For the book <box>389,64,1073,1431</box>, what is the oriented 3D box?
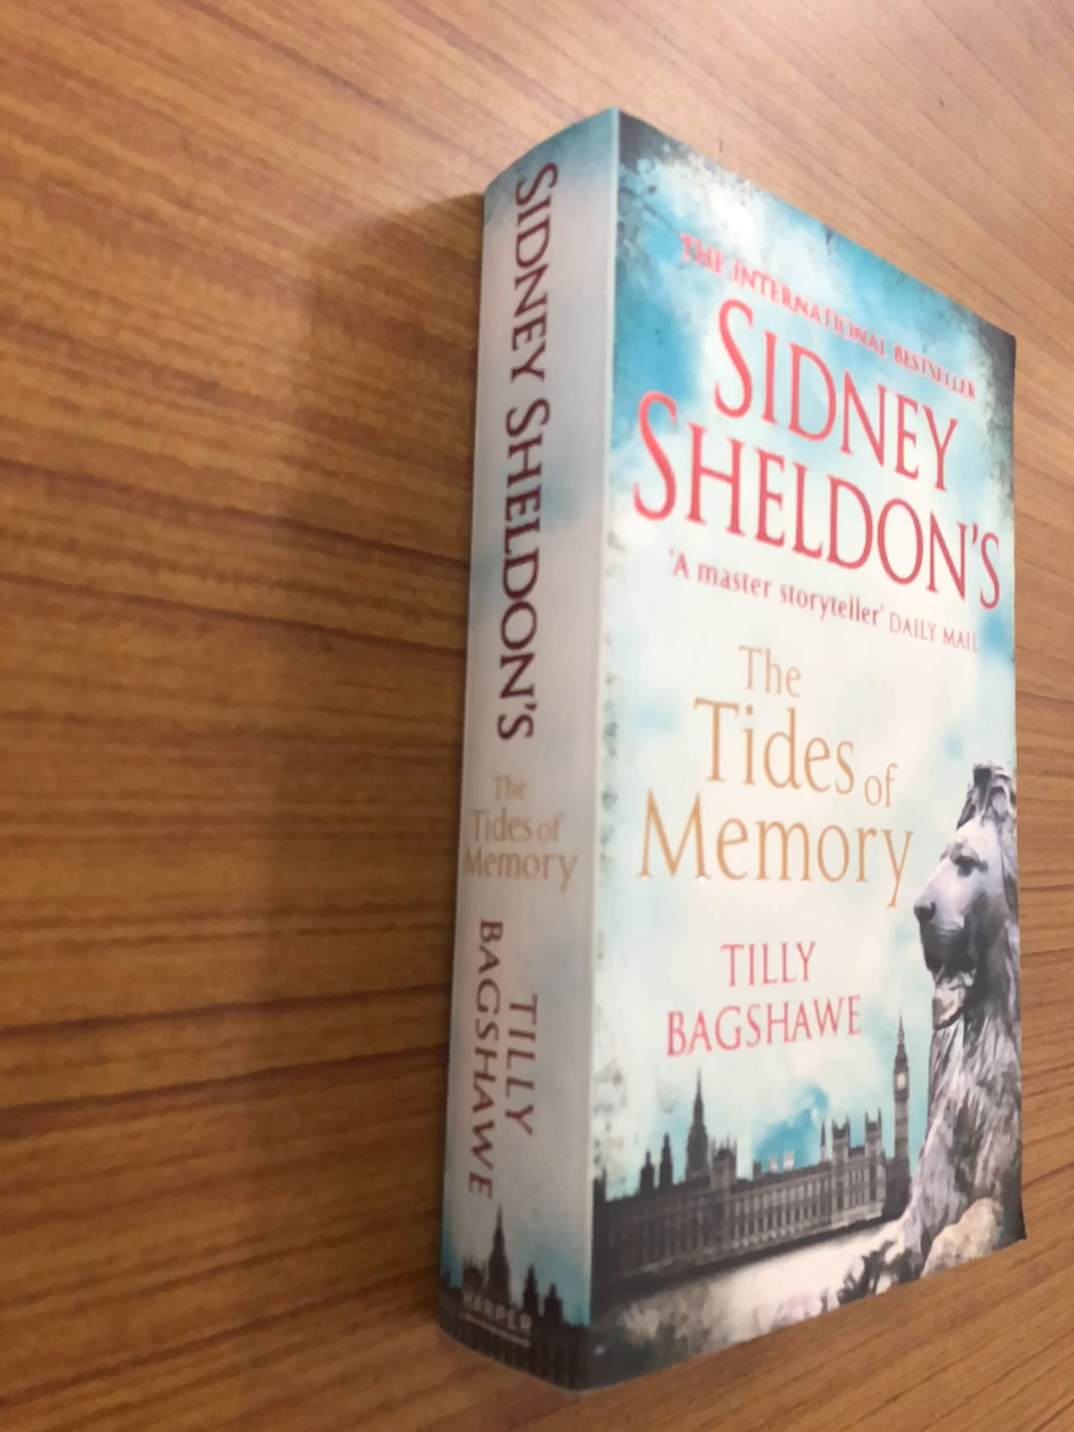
[{"bbox_3d":[0.041,0.007,0.198,0.122,0.037,0.168,8,81,-40],"label":"book"}]
